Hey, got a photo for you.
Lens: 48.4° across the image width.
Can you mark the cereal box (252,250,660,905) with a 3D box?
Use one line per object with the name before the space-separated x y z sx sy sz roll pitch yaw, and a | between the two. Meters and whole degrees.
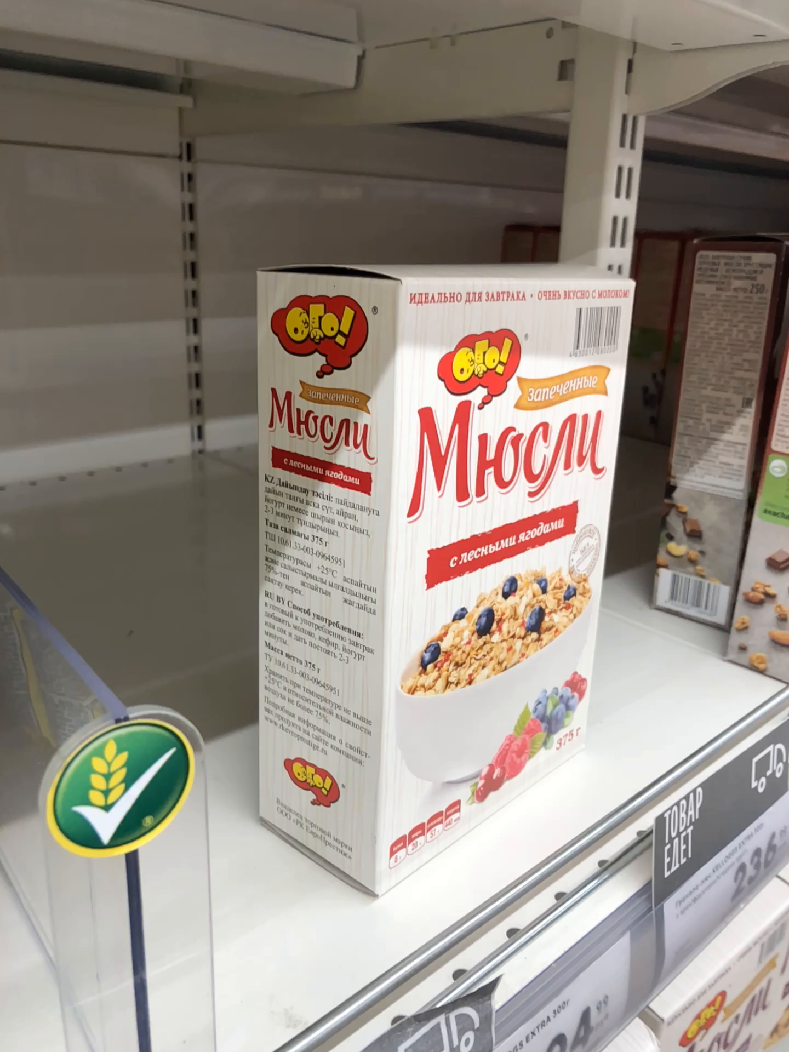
cereal box | 0.024 0.005 0.321 0.060 0.199 0.140 17 24 40
